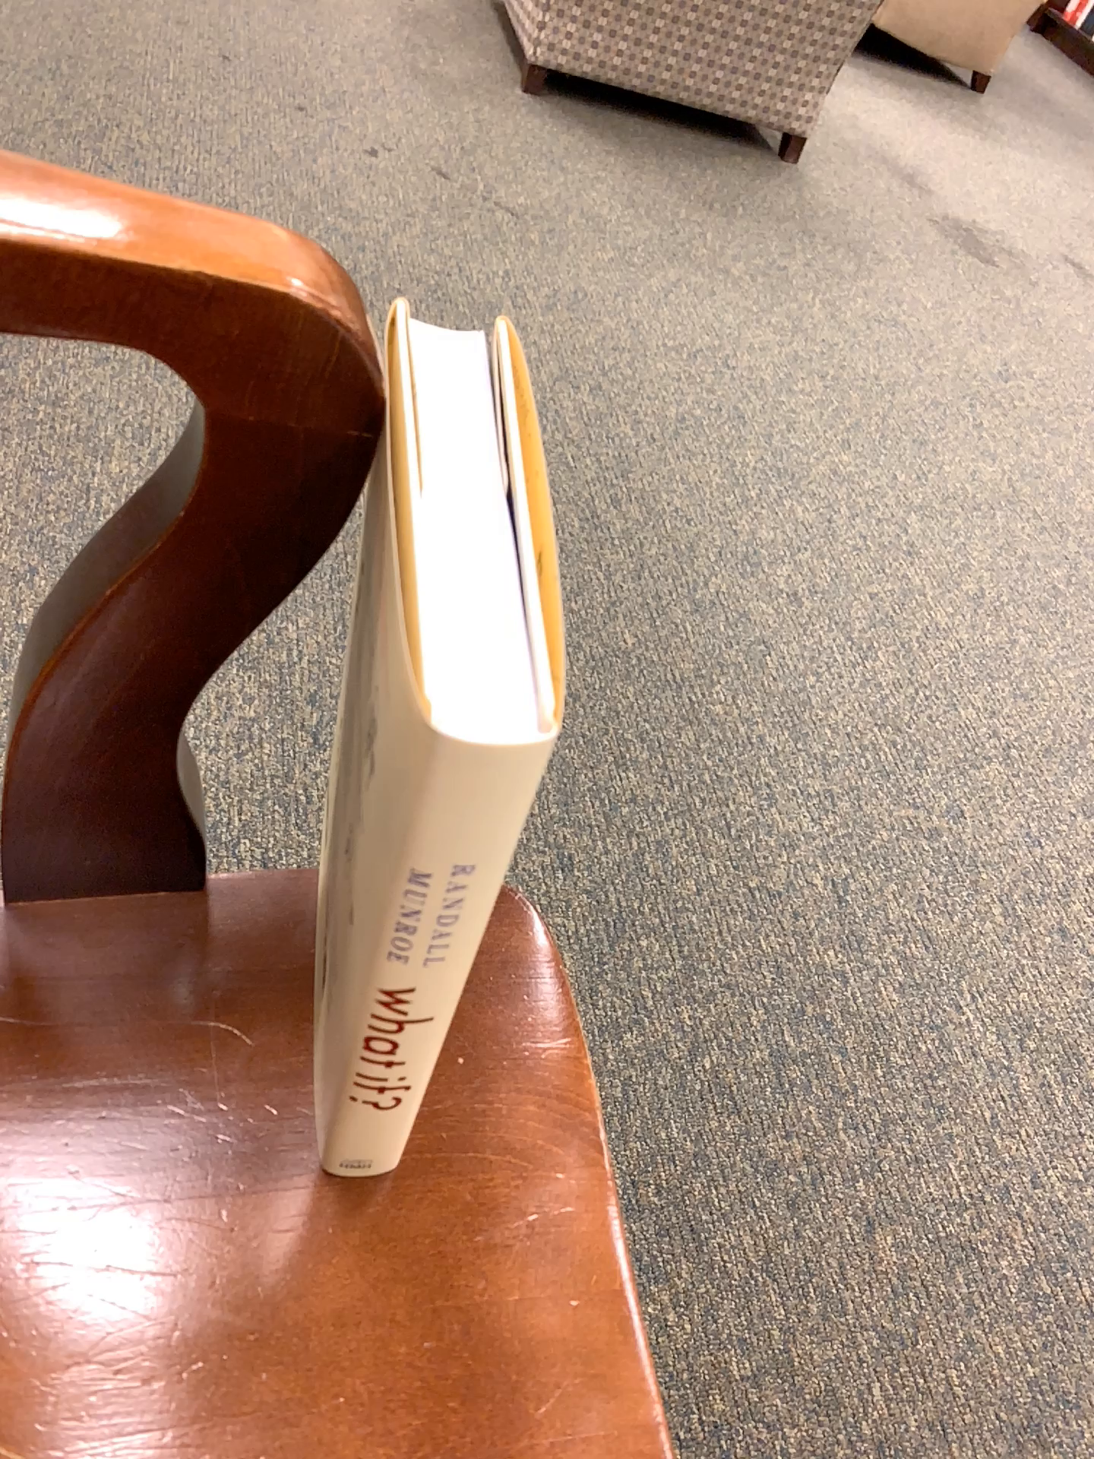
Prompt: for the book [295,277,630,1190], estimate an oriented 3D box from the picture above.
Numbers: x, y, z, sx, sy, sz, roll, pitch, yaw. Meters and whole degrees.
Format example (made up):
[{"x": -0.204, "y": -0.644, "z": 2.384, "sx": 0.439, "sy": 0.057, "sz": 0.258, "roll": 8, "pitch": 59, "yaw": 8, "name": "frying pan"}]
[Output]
[{"x": -0.046, "y": 0.012, "z": 0.372, "sx": 0.050, "sy": 0.239, "sz": 0.188, "roll": 5, "pitch": 47, "yaw": -14, "name": "book"}]
